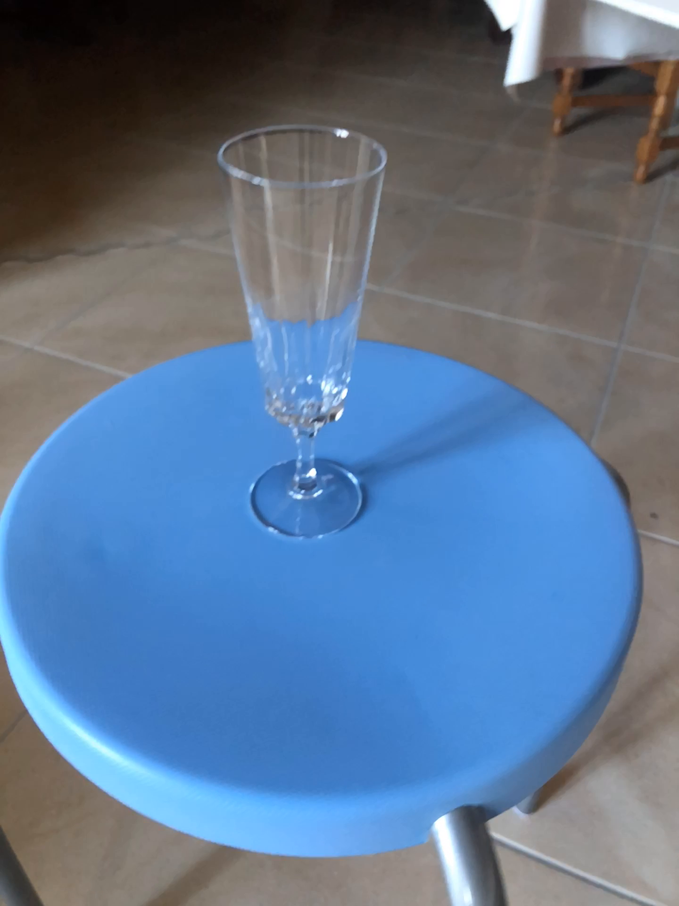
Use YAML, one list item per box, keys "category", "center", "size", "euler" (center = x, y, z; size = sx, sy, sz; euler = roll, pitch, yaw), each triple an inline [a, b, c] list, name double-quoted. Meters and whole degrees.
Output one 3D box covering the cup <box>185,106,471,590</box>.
- category: "cup"
  center: [-0.005, -0.040, 0.329]
  size: [0.070, 0.179, 0.080]
  euler: [24, 45, 24]
